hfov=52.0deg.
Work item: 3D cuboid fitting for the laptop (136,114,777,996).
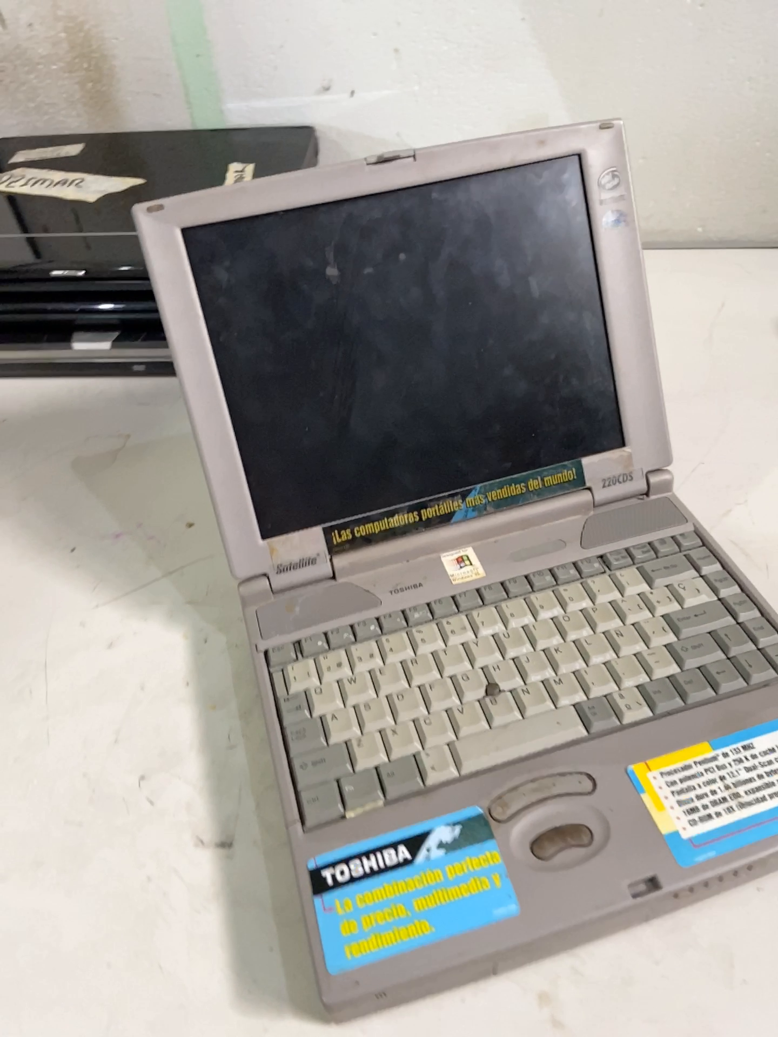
[{"bbox_3d":[0.060,-0.024,0.416,0.301,0.195,0.359,-14,46,-9],"label":"laptop"}]
